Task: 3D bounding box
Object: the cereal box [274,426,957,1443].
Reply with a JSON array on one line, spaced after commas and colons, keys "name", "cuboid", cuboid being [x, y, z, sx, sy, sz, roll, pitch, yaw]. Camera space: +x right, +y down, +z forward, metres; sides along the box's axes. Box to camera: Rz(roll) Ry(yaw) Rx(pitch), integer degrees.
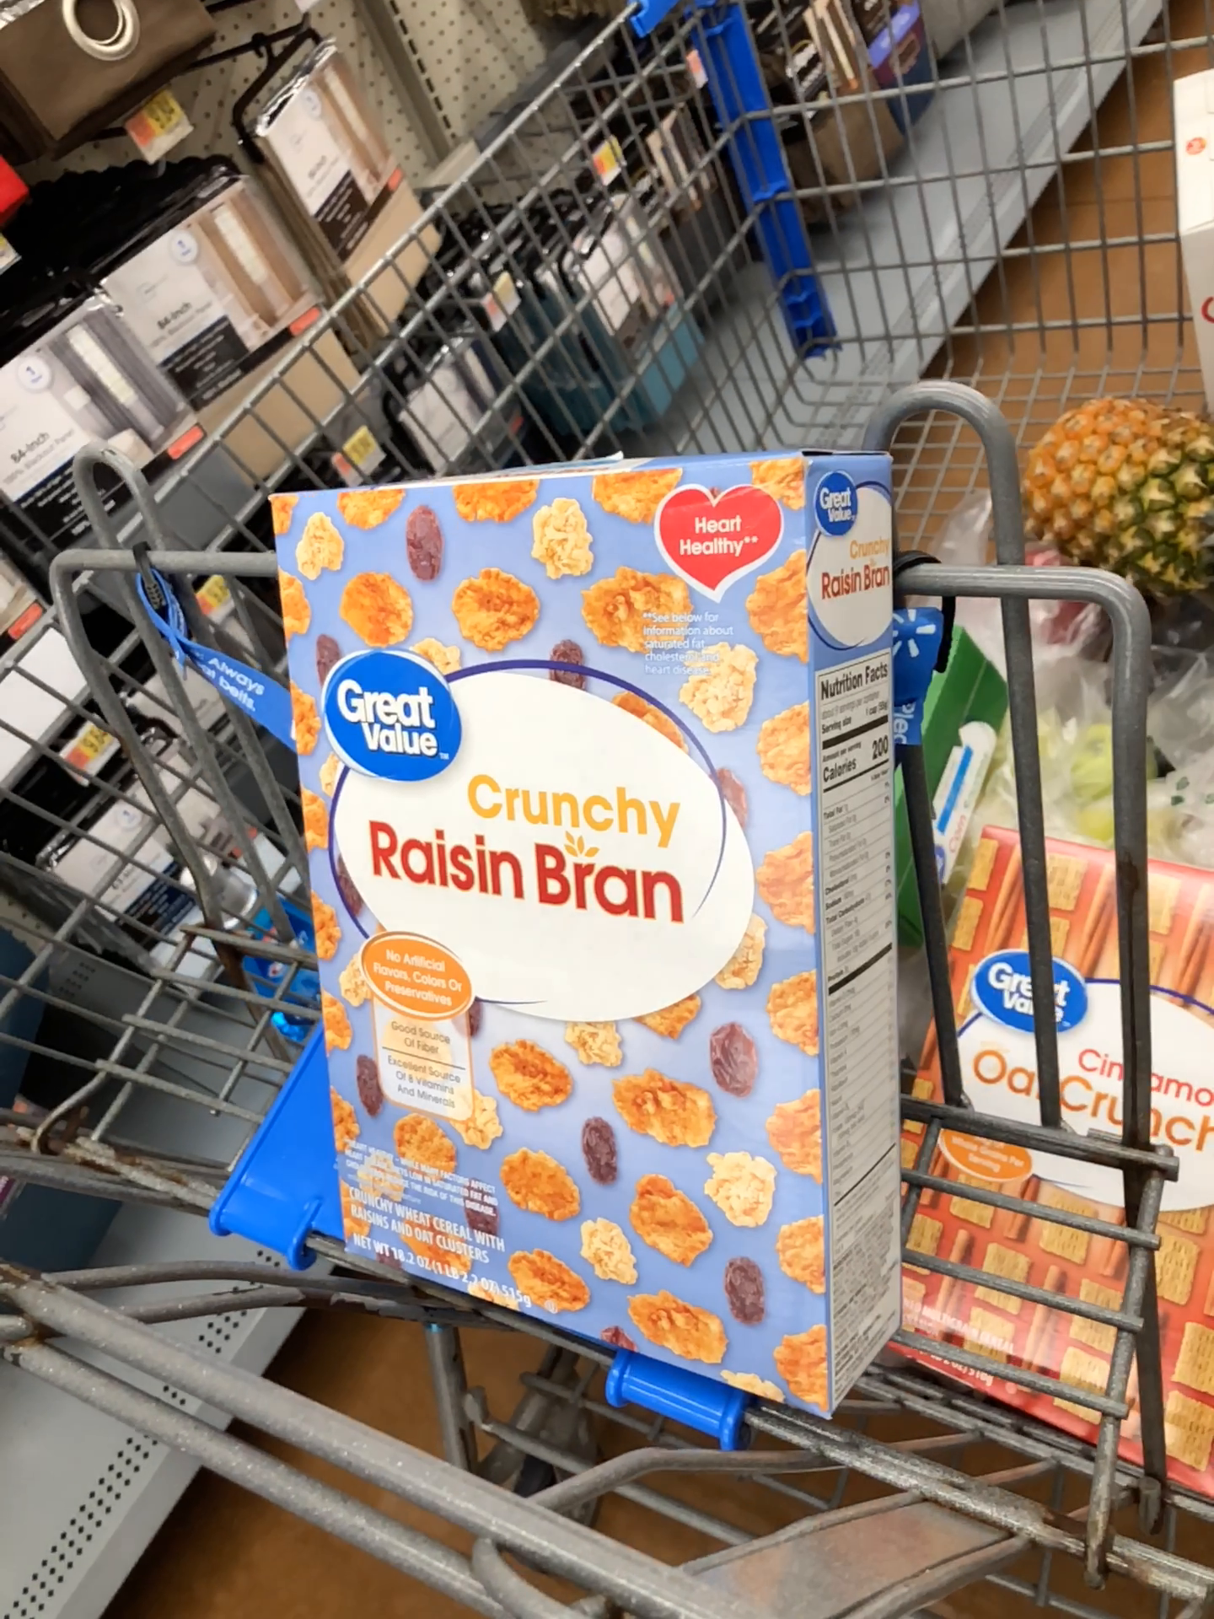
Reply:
[{"name": "cereal box", "cuboid": [0.002, 0.029, 0.436, 0.201, 0.280, 0.070, 5, 14, 31]}]
